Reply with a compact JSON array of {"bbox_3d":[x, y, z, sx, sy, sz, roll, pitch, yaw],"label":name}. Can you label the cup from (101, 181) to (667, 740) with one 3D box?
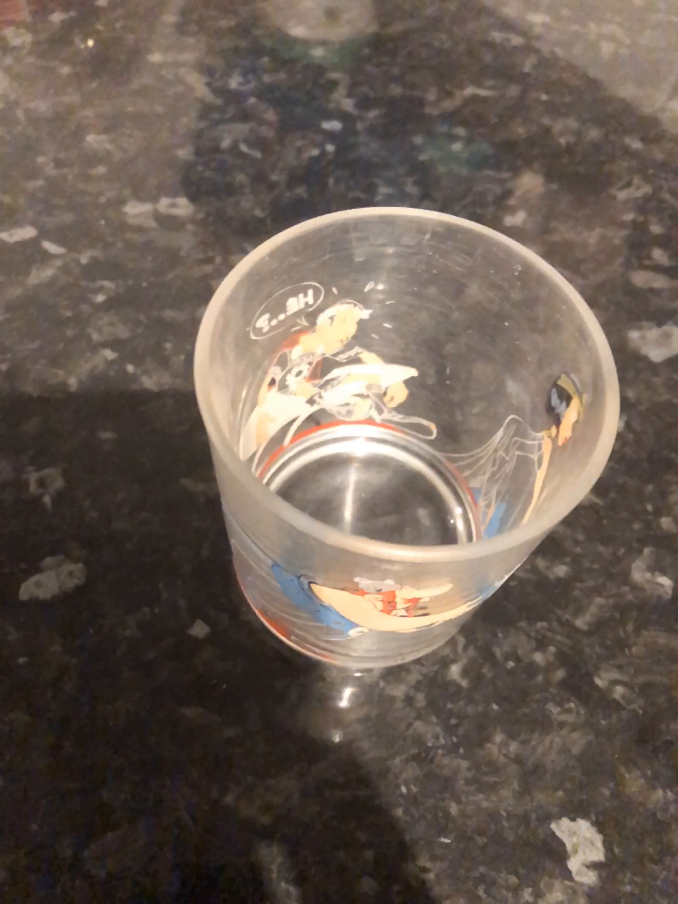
[{"bbox_3d":[0.007,0.007,0.161,0.080,0.080,0.080,2,60,-4],"label":"cup"}]
